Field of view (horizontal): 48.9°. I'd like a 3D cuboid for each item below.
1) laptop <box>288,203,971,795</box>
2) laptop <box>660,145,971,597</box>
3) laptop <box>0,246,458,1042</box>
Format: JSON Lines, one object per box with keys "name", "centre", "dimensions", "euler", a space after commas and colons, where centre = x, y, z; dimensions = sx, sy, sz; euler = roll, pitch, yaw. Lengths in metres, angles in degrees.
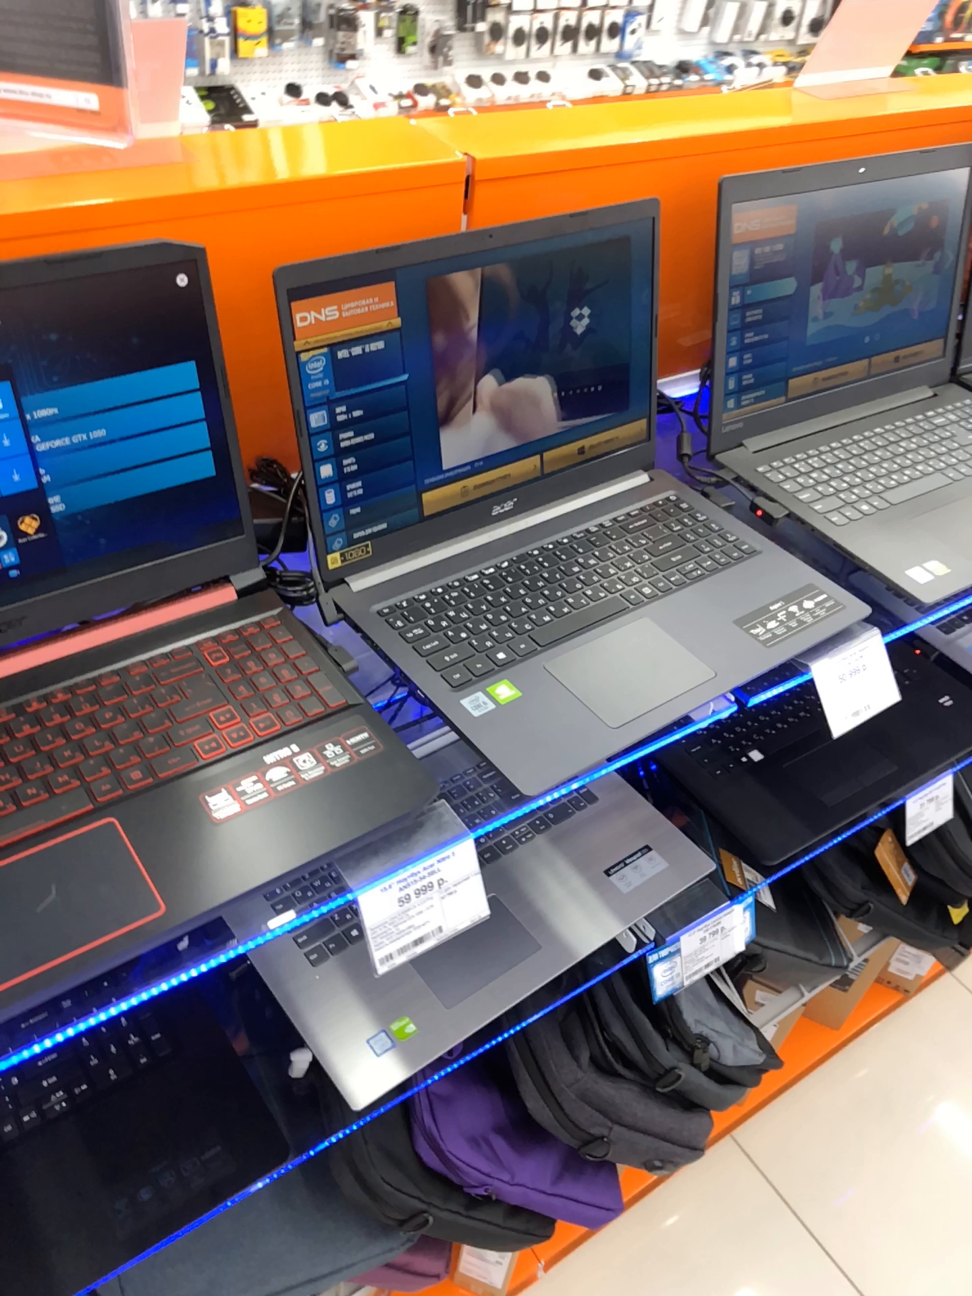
{"name": "laptop", "centre": [0.088, -0.138, 0.782], "dimensions": [0.353, 0.224, 0.303], "euler": [-24, 49, -31]}
{"name": "laptop", "centre": [0.428, -0.275, 0.981], "dimensions": [0.349, 0.230, 0.323], "euler": [-21, 49, -29]}
{"name": "laptop", "centre": [-0.240, -0.037, 0.587], "dimensions": [0.310, 0.230, 0.301], "euler": [-23, 49, -34]}
